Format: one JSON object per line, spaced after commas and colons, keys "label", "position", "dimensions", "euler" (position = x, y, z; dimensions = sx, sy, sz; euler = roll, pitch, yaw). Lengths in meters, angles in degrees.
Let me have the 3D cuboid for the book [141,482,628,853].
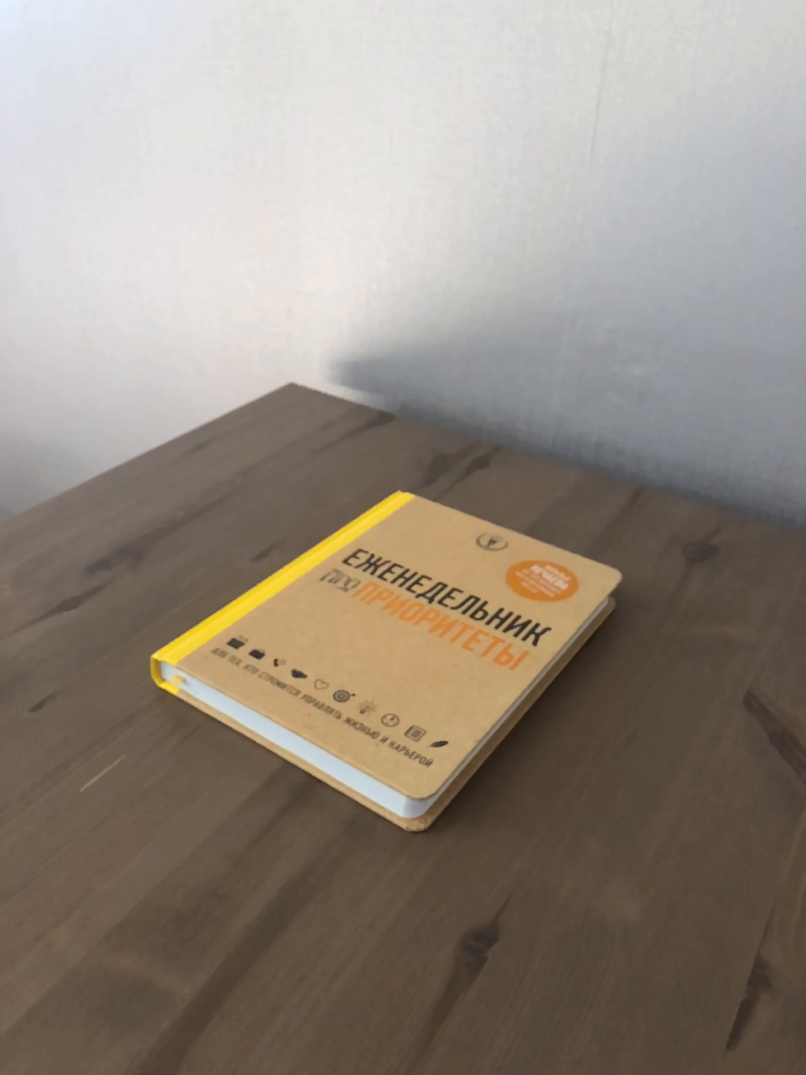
{"label": "book", "position": [-0.001, 0.052, 0.525], "dimensions": [0.180, 0.032, 0.230], "euler": [21, 37, 28]}
